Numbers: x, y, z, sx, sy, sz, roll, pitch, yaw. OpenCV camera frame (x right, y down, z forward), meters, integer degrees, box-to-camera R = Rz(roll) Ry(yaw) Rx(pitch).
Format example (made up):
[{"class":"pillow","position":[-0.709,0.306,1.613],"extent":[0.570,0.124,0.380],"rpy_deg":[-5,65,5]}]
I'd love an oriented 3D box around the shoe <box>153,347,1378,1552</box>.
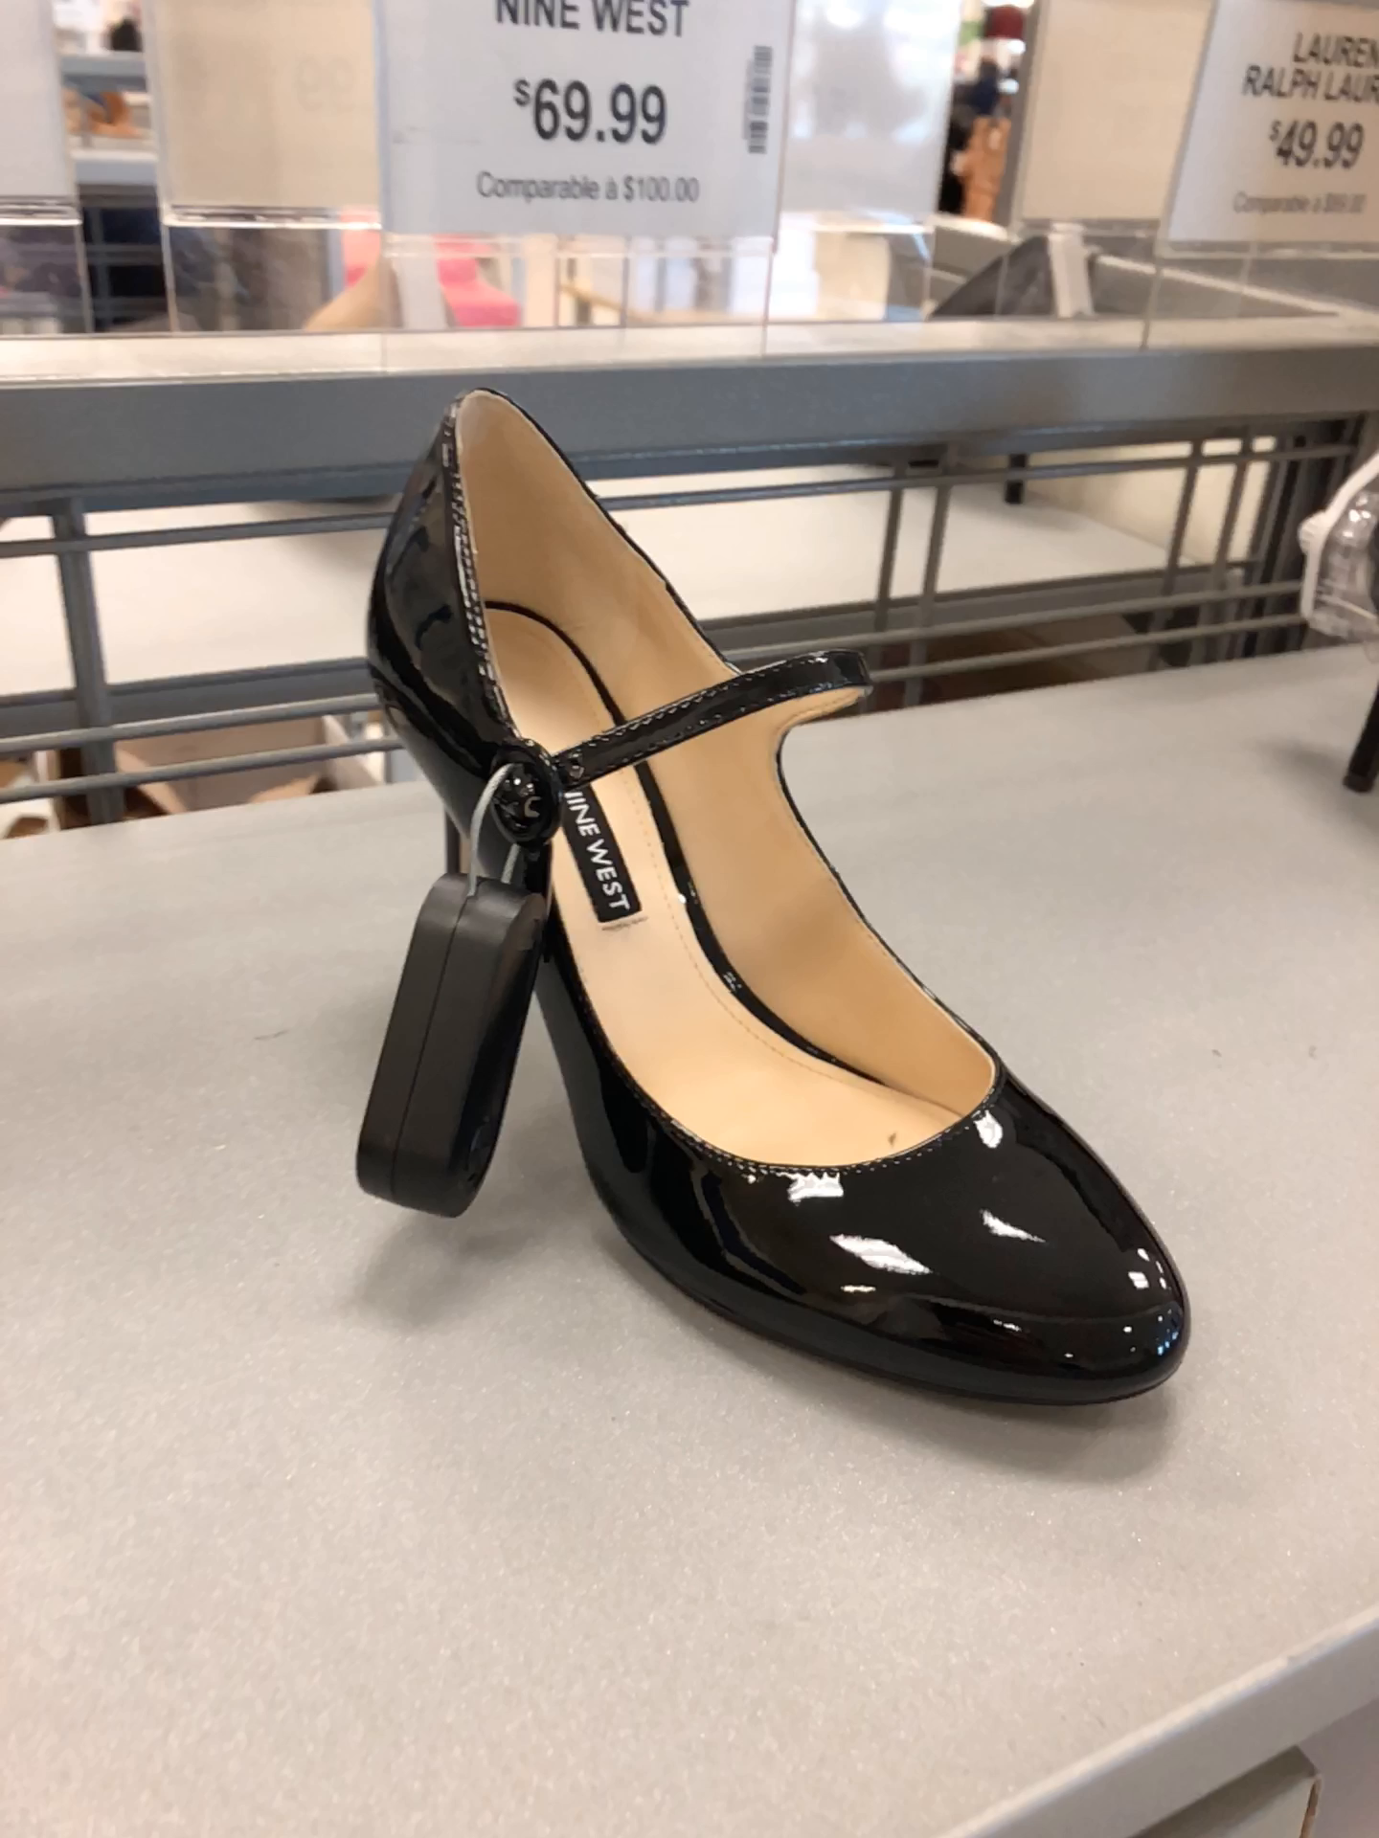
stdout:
[{"class":"shoe","position":[-0.005,-0.020,0.335],"extent":[0.090,0.151,0.257],"rpy_deg":[-23,40,-39]}]
